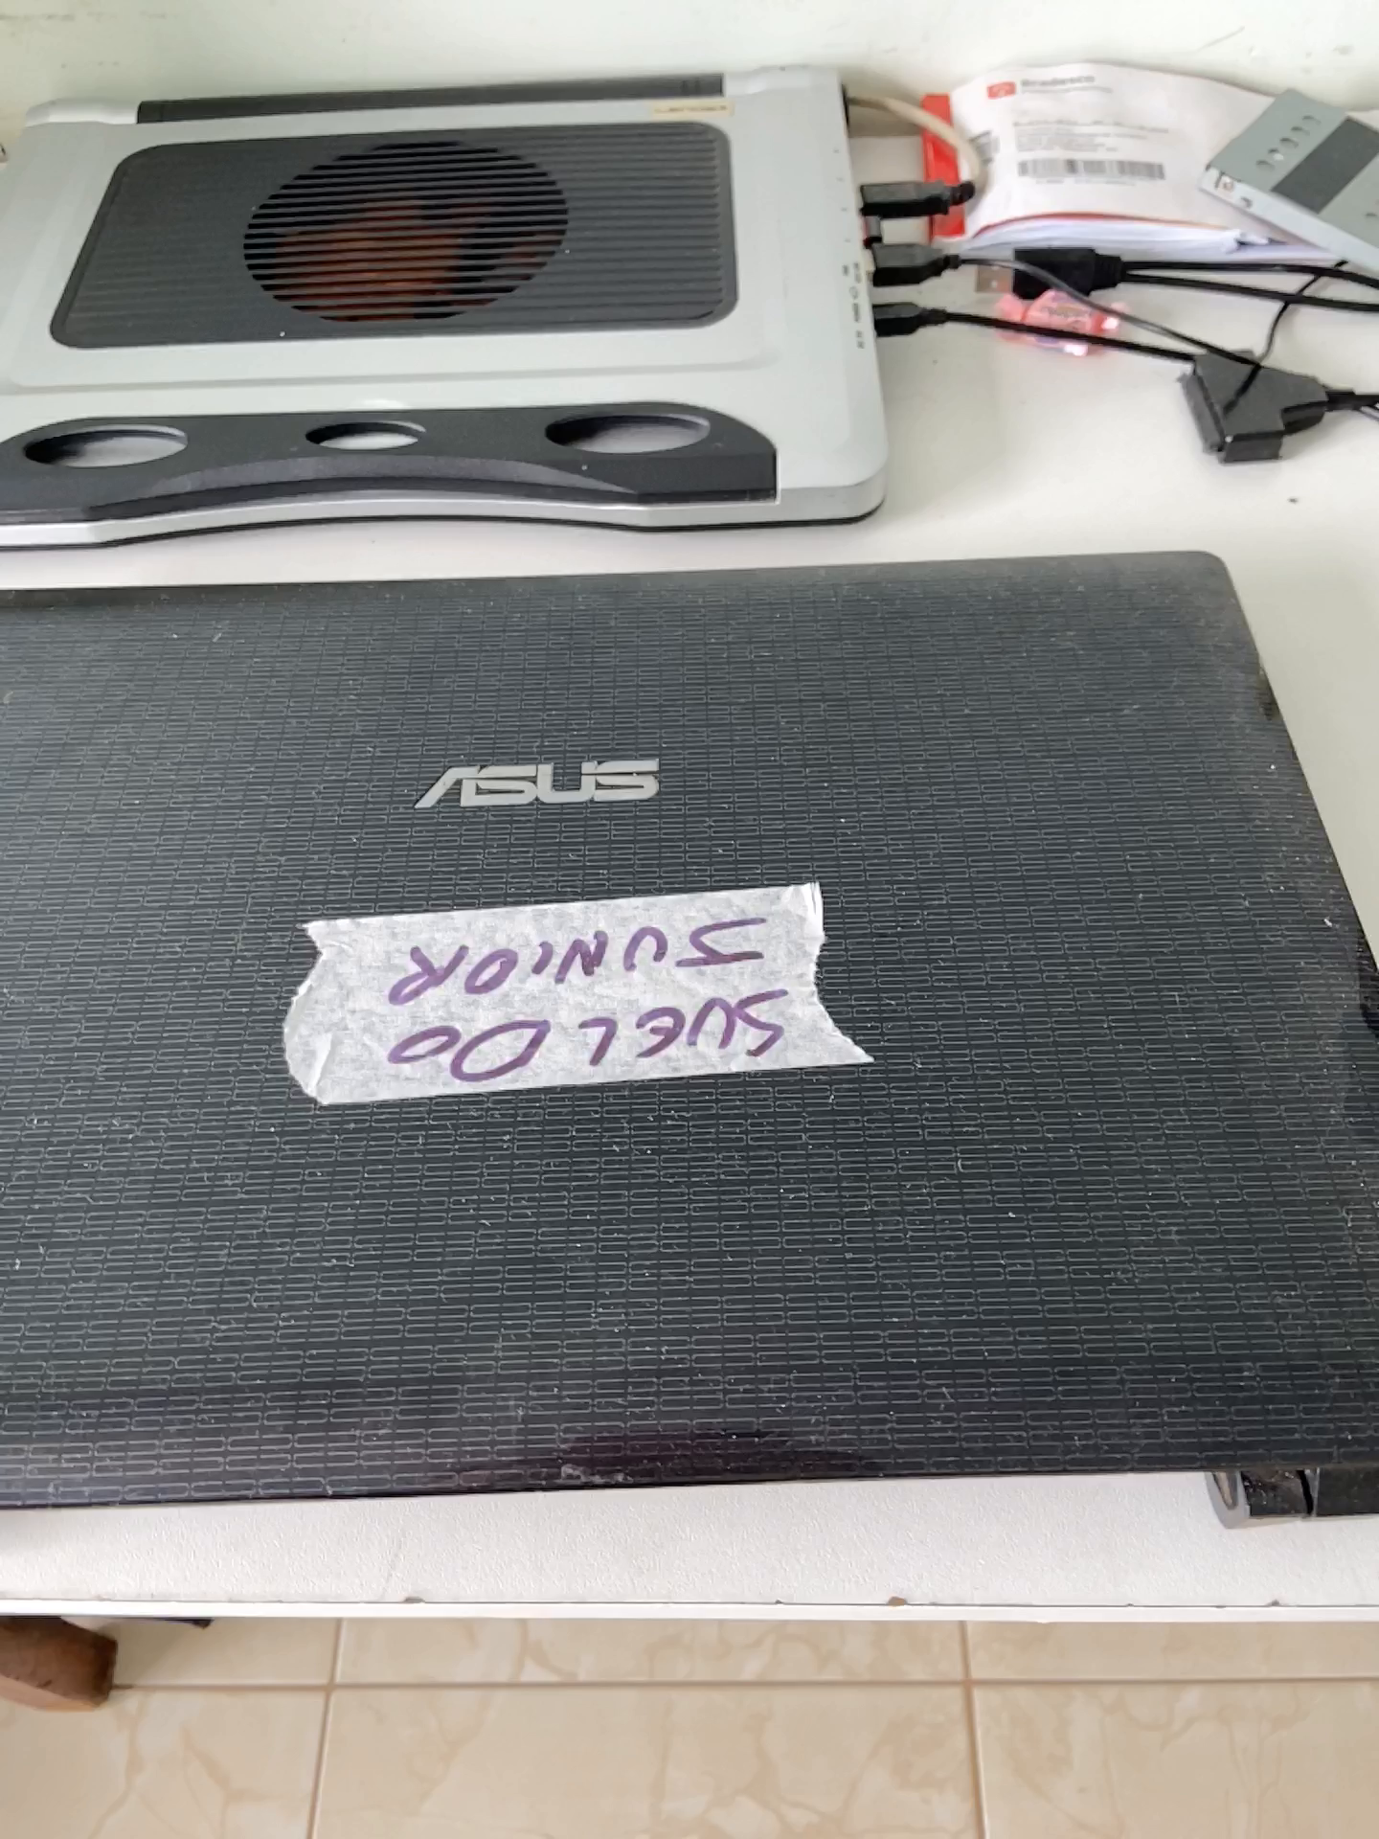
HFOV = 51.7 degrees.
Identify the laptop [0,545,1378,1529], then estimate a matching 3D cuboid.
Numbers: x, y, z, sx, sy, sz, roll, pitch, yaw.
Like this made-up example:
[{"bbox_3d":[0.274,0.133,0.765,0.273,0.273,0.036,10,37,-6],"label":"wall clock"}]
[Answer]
[{"bbox_3d":[-0.040,0.004,0.320,0.362,0.001,0.237,-3,54,2],"label":"laptop"}]
